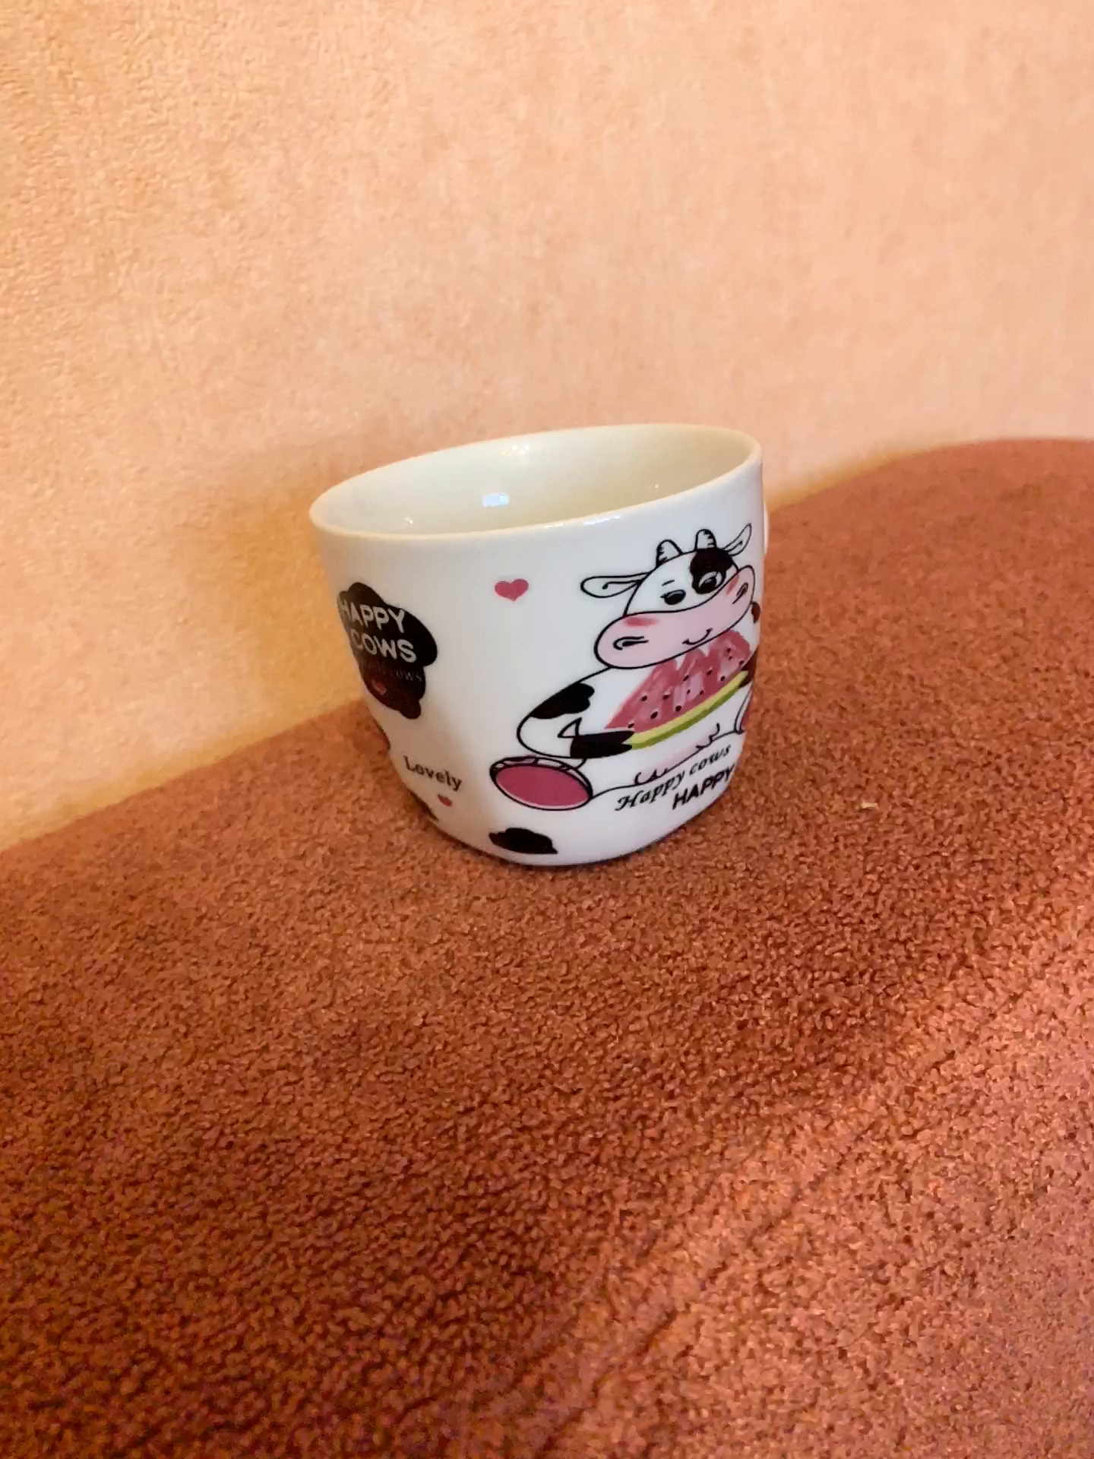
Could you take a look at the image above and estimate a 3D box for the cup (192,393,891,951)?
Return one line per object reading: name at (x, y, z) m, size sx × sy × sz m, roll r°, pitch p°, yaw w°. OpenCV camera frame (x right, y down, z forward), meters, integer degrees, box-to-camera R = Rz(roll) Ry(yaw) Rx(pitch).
cup at (0.001, -0.020, 0.212) m, size 0.095 × 0.056 × 0.079 m, roll -25°, pitch 30°, yaw -29°
